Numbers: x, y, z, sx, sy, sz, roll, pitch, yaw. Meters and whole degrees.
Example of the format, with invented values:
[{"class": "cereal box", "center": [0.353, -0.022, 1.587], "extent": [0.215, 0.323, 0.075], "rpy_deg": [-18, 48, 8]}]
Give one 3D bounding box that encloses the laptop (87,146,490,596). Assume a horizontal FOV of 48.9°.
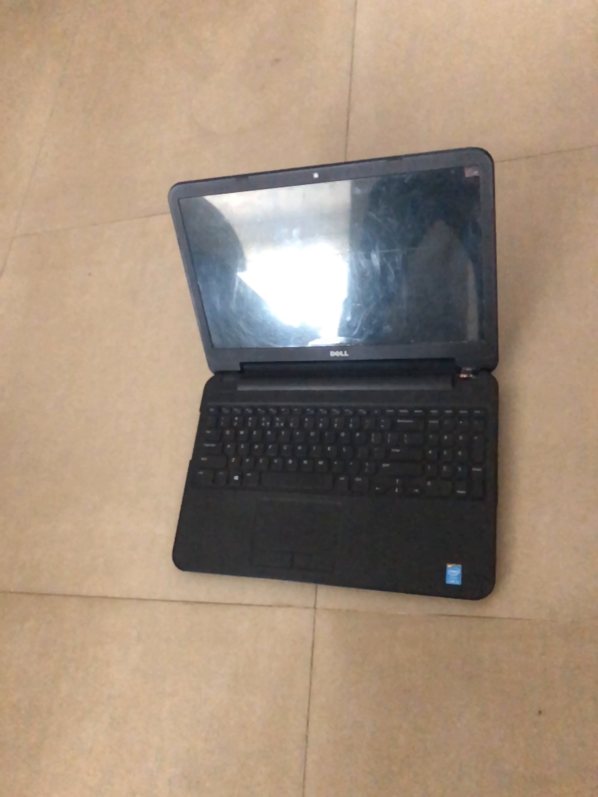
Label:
[{"class": "laptop", "center": [0.018, -0.027, 0.708], "extent": [0.343, 0.178, 0.406], "rpy_deg": [0, 66, 20]}]
